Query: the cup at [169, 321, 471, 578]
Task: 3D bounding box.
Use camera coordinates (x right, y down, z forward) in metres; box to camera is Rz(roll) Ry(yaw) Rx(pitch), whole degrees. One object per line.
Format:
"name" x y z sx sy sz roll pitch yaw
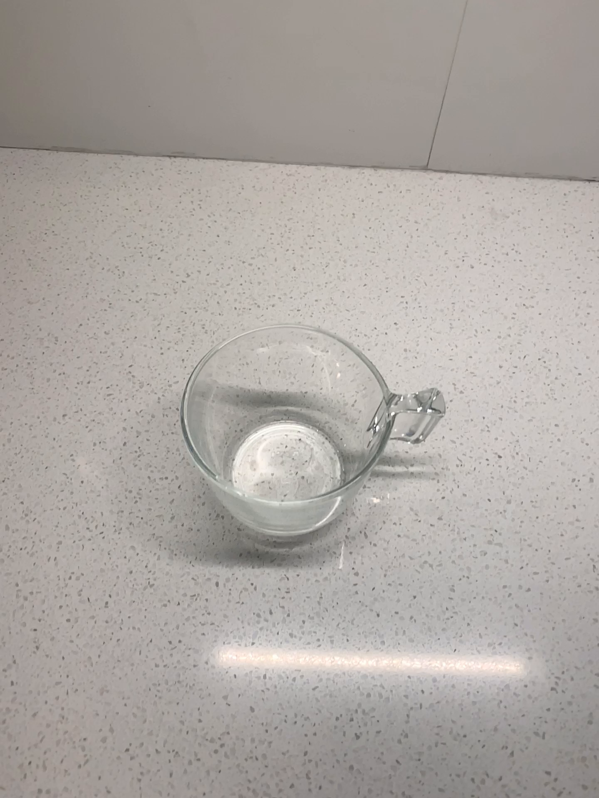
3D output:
"cup" 0.006 0.025 0.281 0.110 0.080 0.090 -1 60 -2
